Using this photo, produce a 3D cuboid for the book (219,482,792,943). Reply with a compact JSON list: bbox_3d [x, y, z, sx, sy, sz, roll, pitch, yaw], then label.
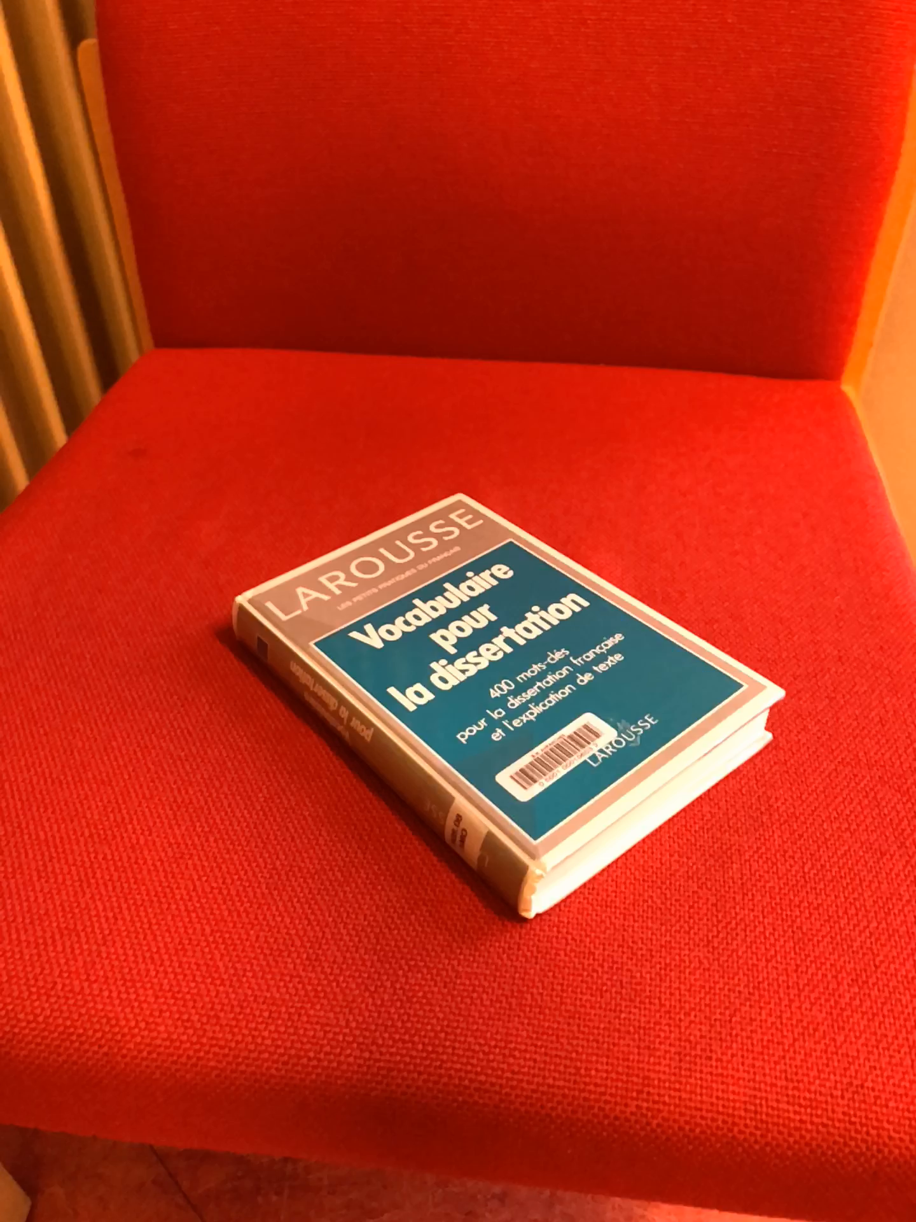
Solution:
[{"bbox_3d":[0.013,0.024,0.424,0.138,0.030,0.199,-29,47,-29],"label":"book"}]
